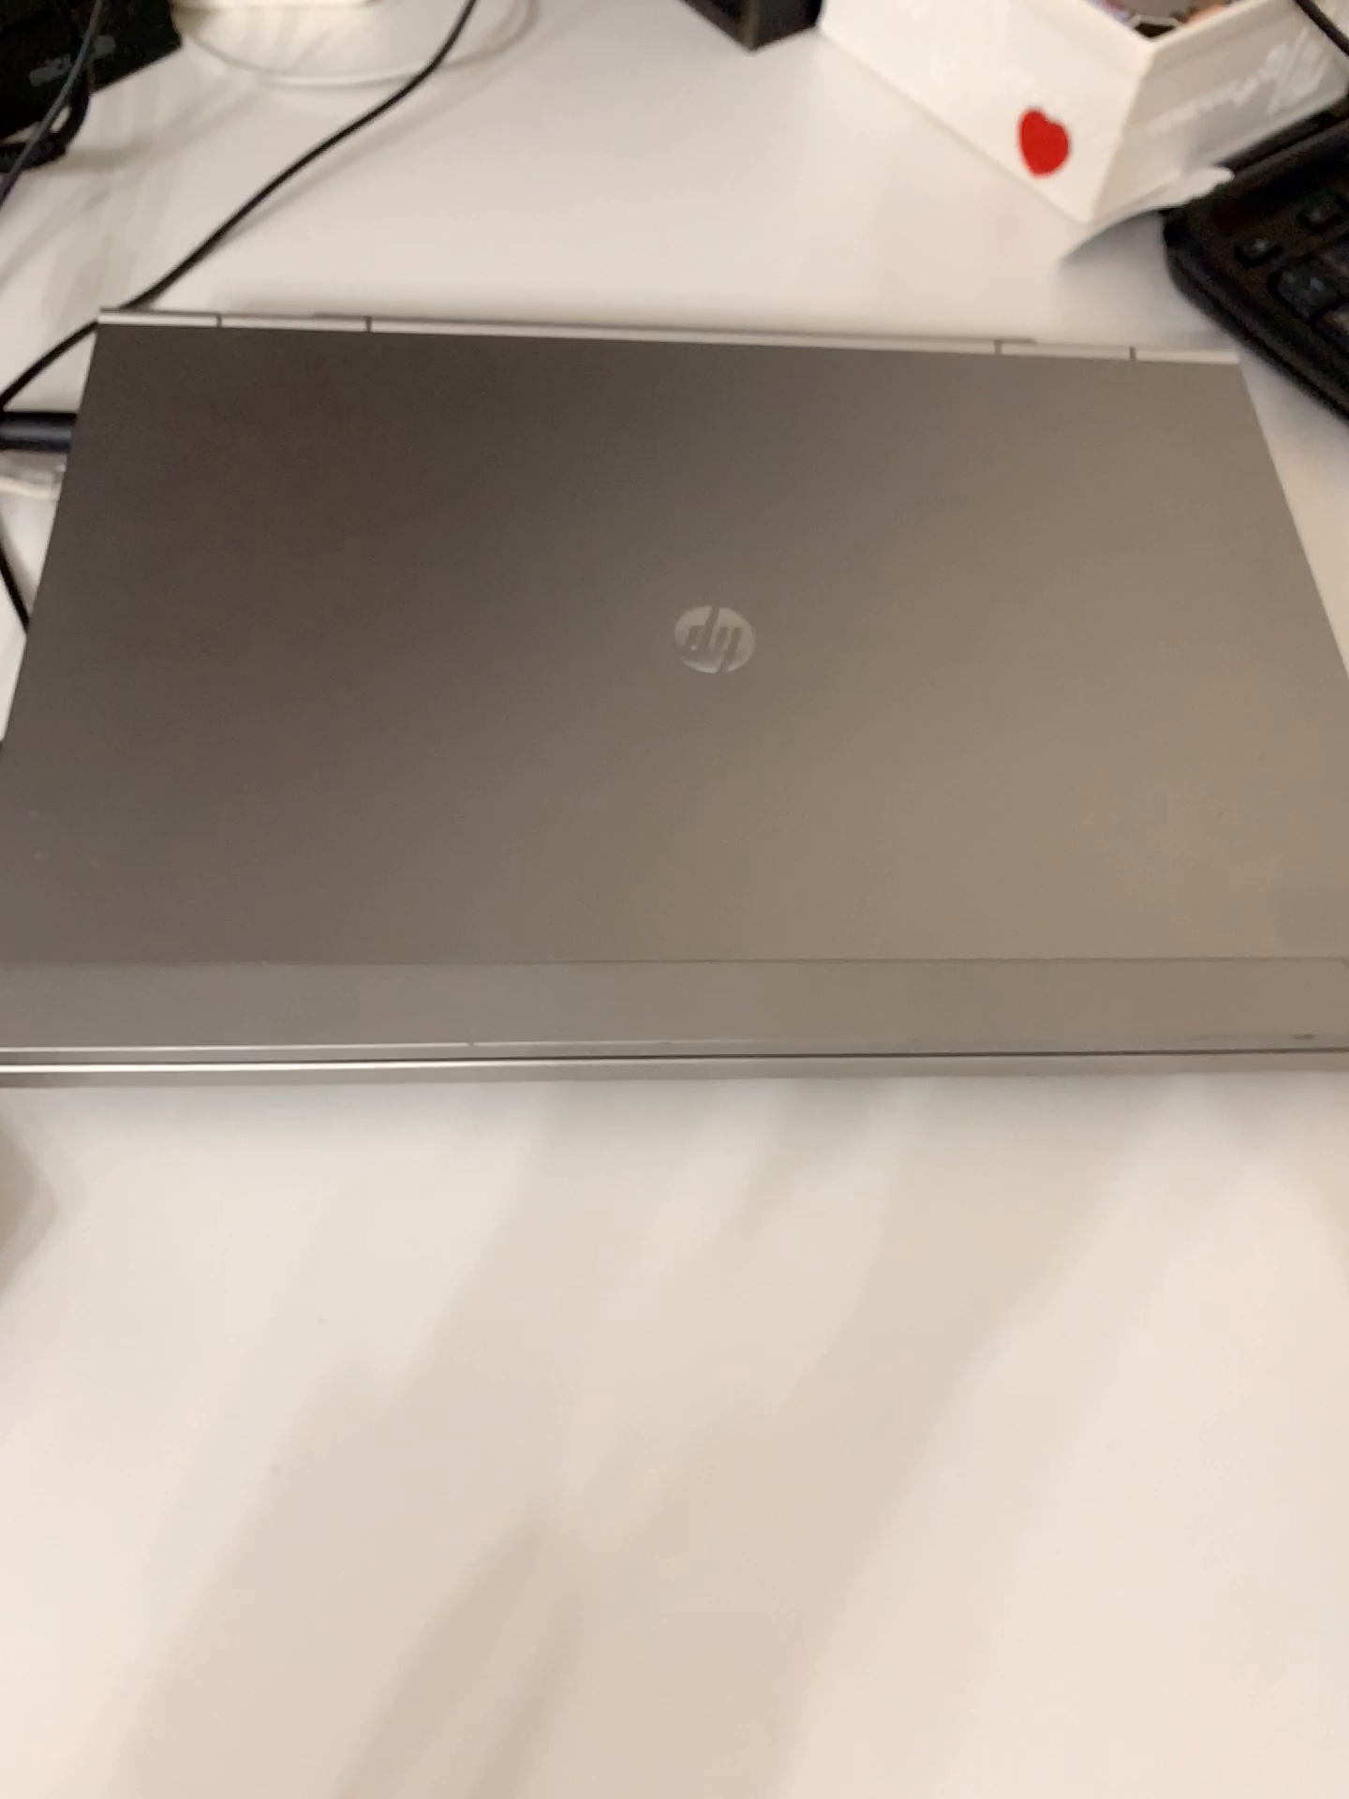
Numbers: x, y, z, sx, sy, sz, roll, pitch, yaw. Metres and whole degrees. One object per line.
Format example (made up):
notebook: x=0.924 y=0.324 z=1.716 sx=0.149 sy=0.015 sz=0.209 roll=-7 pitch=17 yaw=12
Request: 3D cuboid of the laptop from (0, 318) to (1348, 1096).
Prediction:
laptop: x=0.014 y=-0.051 z=0.324 sx=0.291 sy=0.016 sz=0.193 roll=0 pitch=64 yaw=-6
